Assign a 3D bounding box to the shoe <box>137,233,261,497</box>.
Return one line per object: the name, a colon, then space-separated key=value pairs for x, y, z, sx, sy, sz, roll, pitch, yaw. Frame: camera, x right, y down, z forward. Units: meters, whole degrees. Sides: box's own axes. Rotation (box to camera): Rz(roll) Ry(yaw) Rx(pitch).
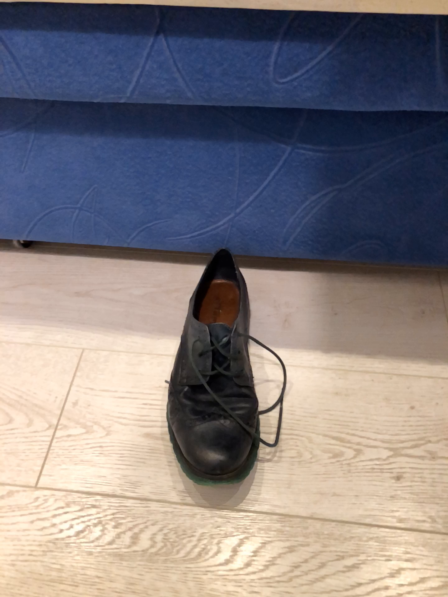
shoe: x=-0.016 y=0.055 z=0.493 sx=0.095 sy=0.089 sz=0.252 roll=-1 pitch=51 yaw=2
